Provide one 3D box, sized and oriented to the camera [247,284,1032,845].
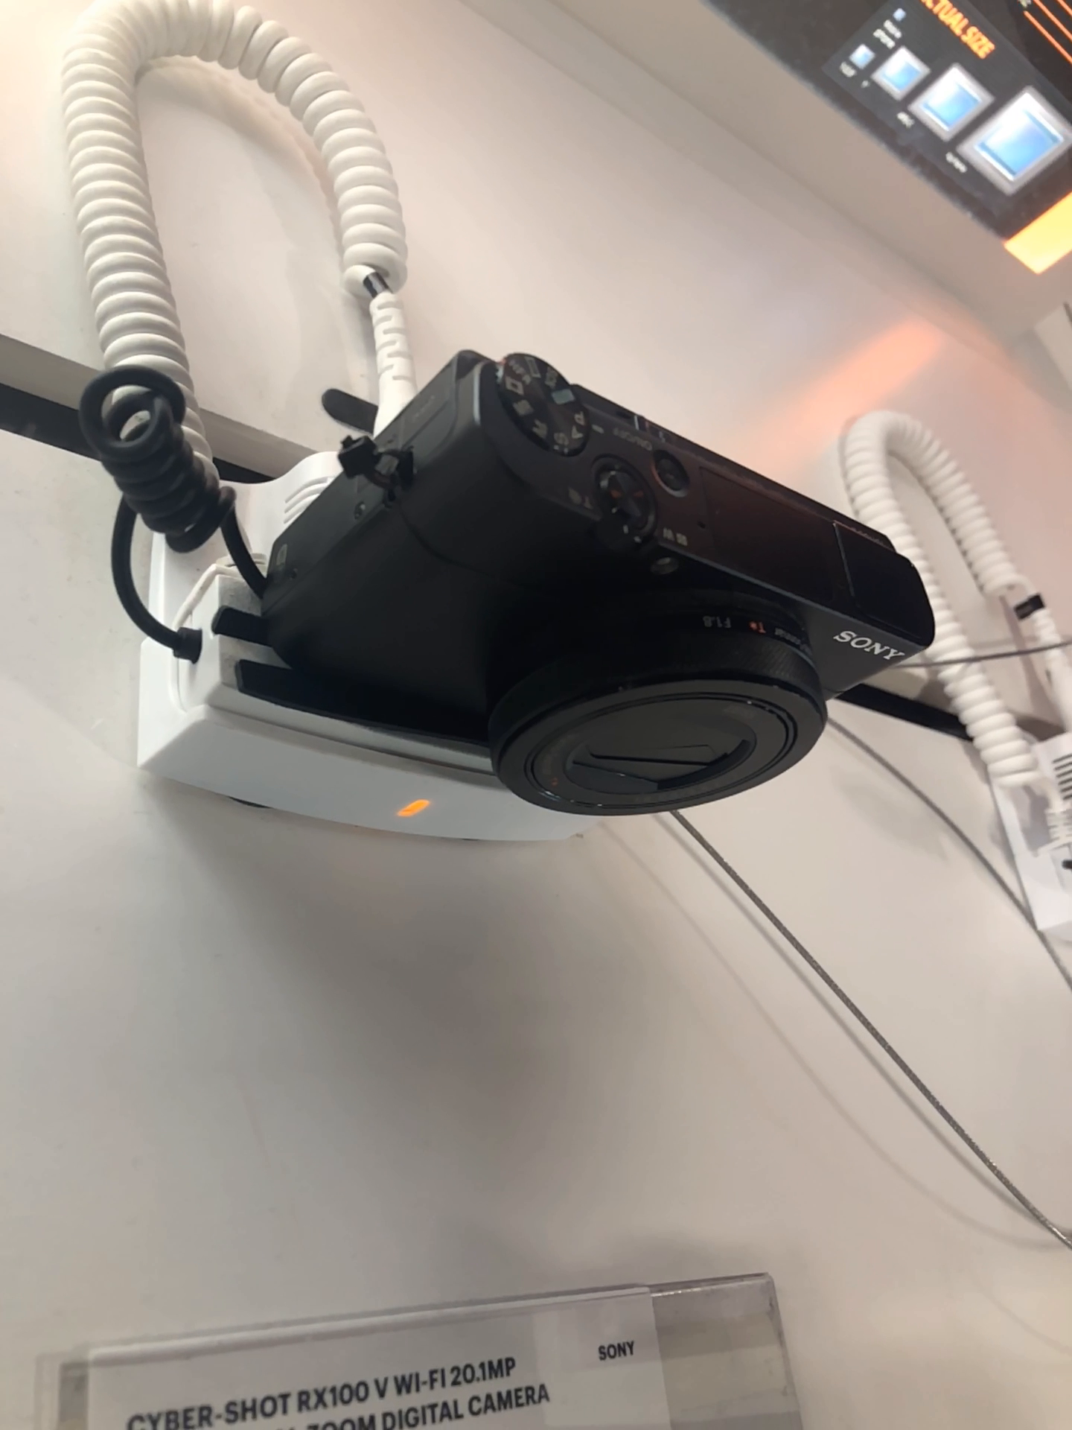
[{"bbox_3d":[0.017,-0.013,0.184,0.101,0.063,0.032,15,56,-36],"label":"camera"}]
